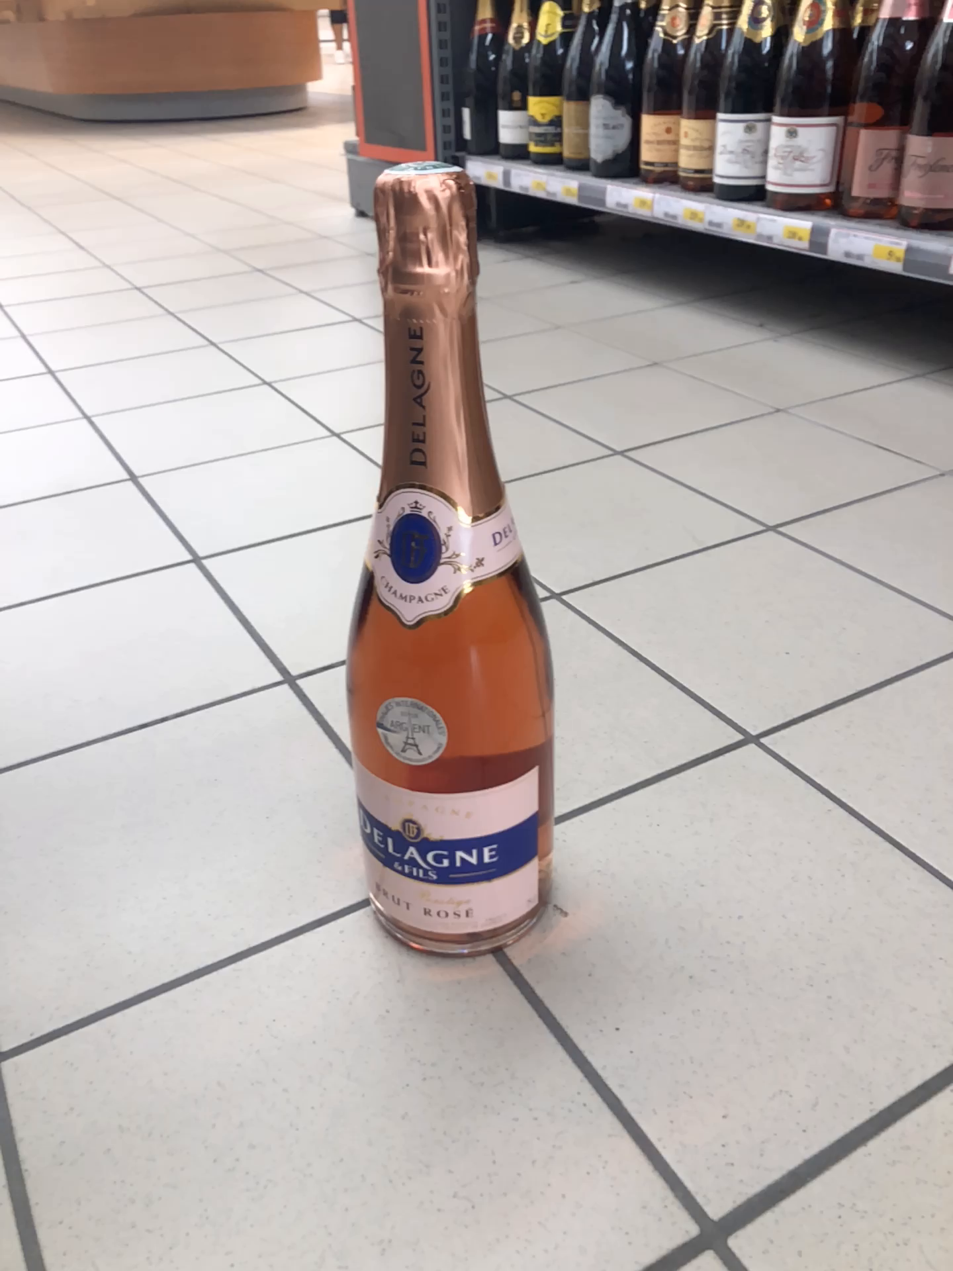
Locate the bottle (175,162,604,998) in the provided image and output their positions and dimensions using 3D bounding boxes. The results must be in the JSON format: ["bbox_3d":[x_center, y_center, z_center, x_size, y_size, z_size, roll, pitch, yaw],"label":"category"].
[{"bbox_3d":[-0.018,-0.015,0.393,0.100,0.288,0.091,12,32,24],"label":"bottle"}]
